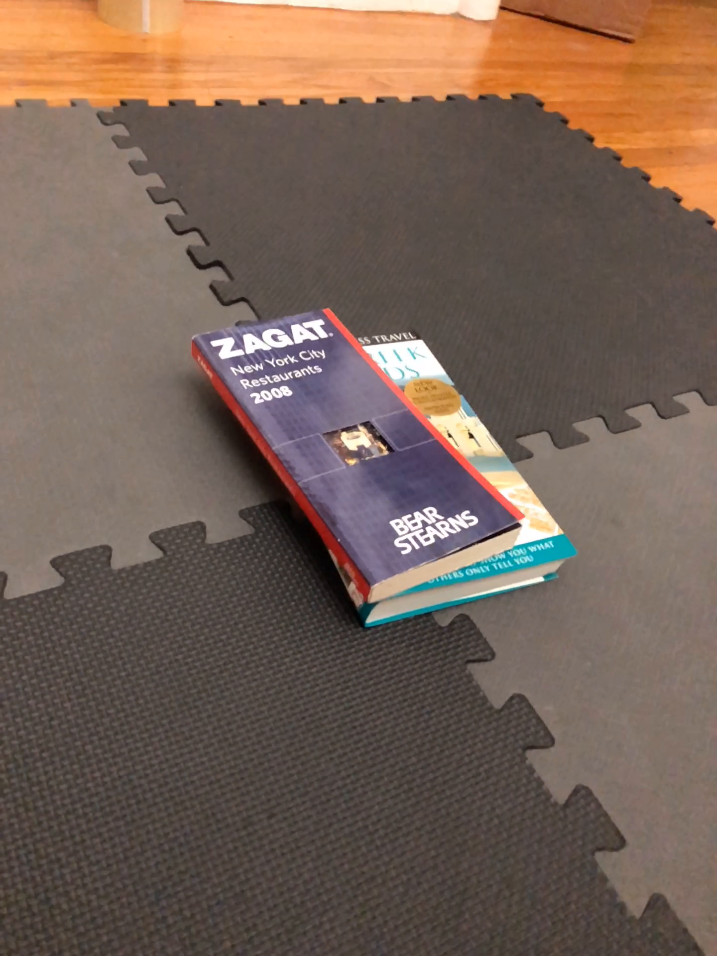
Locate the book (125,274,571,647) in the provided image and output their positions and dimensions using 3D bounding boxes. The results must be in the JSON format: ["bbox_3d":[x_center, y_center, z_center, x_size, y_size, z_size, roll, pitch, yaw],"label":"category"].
[{"bbox_3d":[-0.016,-0.033,0.459,0.150,0.020,0.251,-18,53,-29],"label":"book"}]

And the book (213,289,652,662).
[{"bbox_3d":[0.031,-0.026,0.489,0.170,0.030,0.261,-11,49,-24],"label":"book"}]
